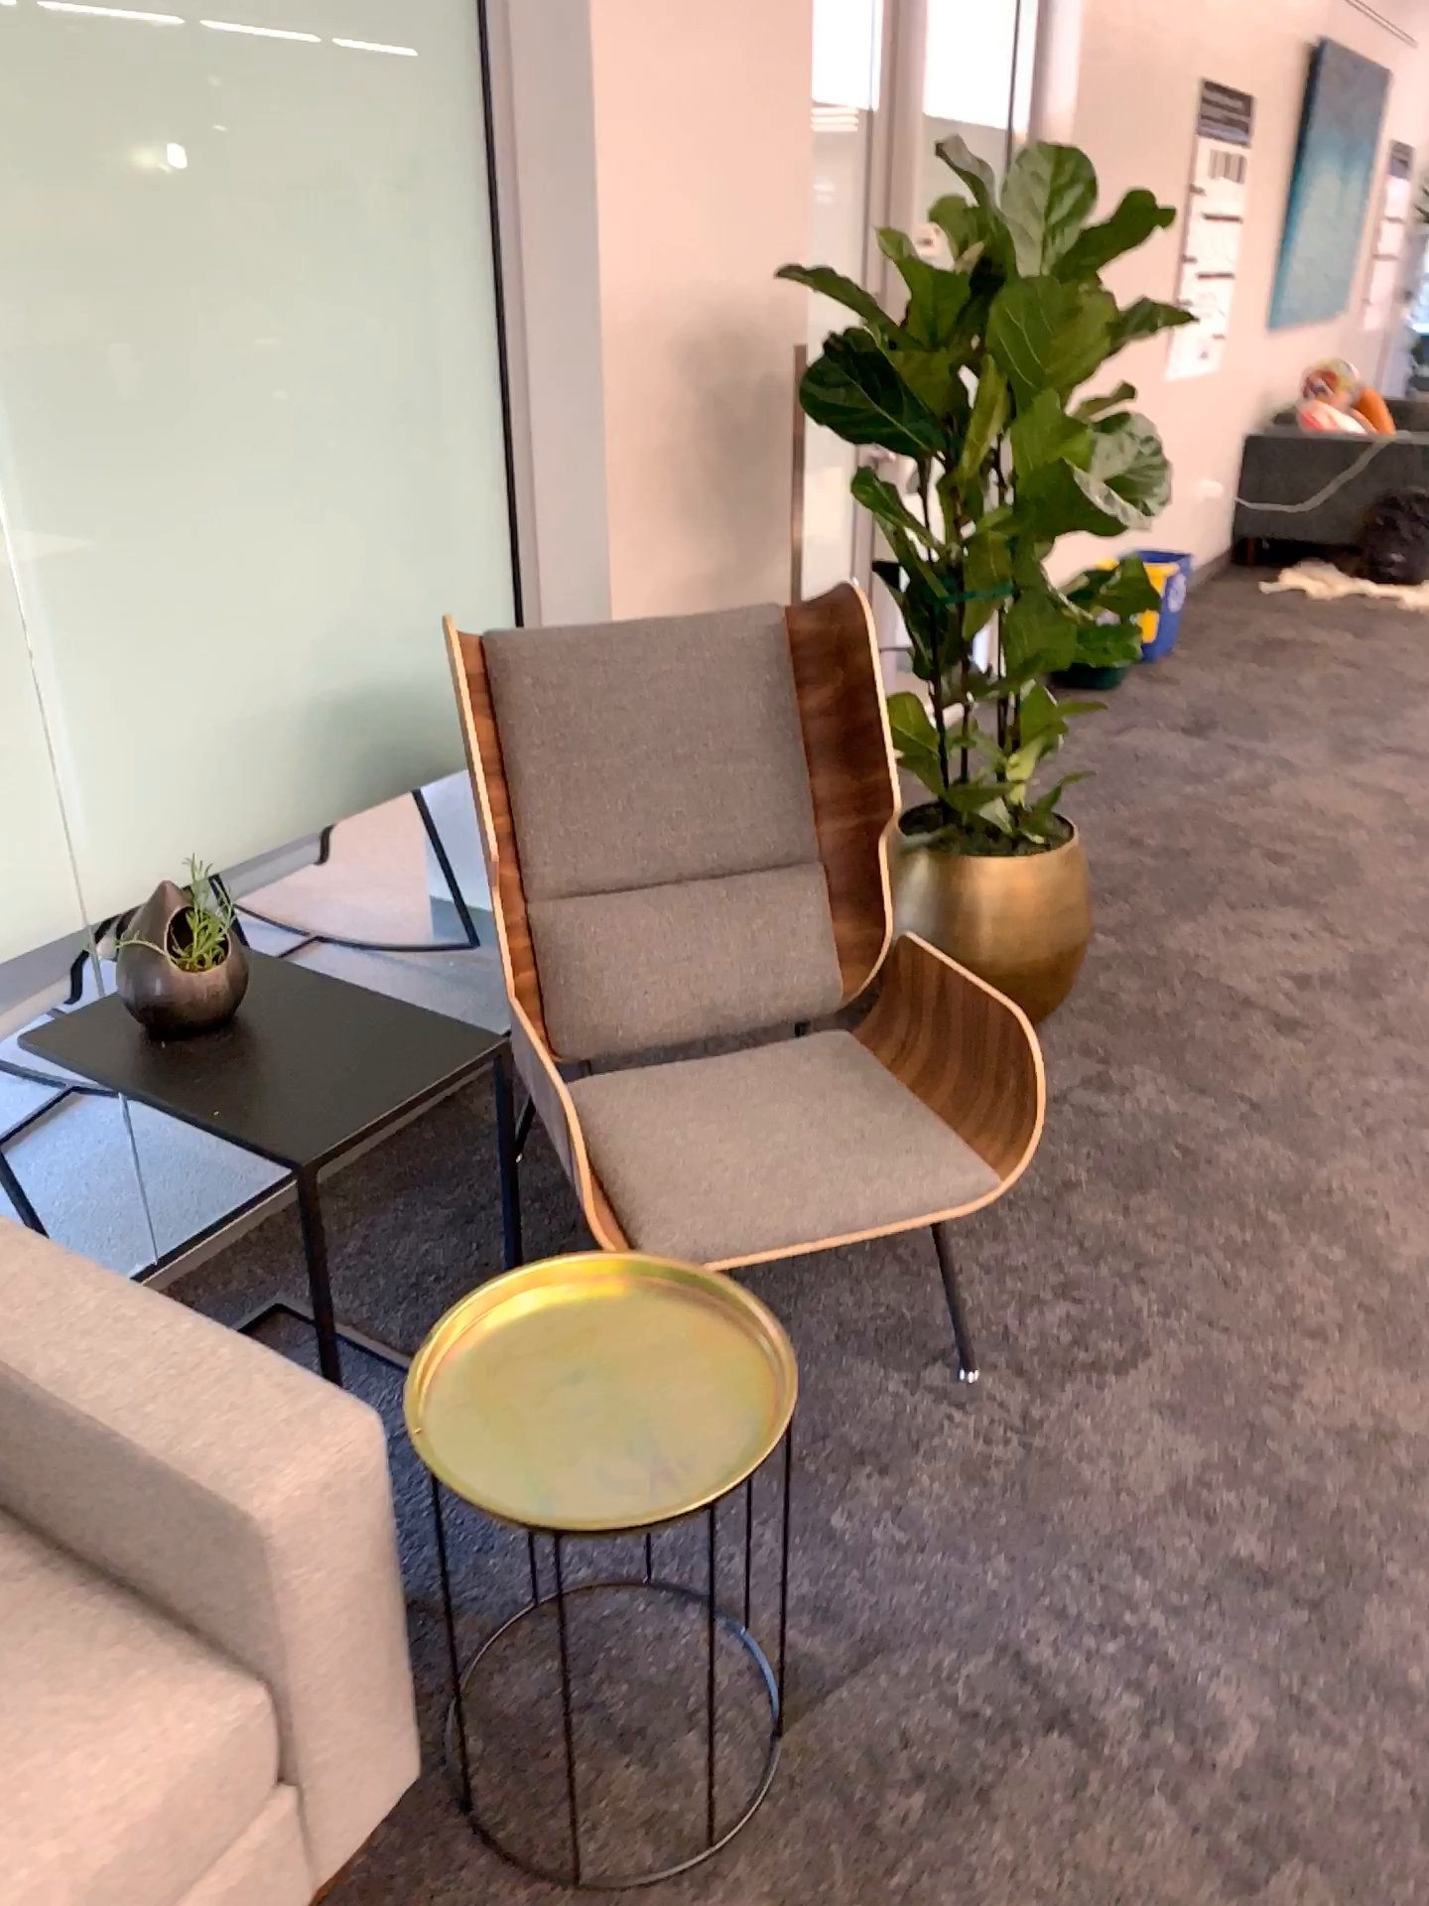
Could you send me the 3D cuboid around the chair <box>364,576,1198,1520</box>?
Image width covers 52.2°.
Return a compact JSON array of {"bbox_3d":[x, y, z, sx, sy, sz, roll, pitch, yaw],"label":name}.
[{"bbox_3d":[0.018,0.043,2.243,0.880,0.995,0.935,-9,27,-17],"label":"chair"}]
